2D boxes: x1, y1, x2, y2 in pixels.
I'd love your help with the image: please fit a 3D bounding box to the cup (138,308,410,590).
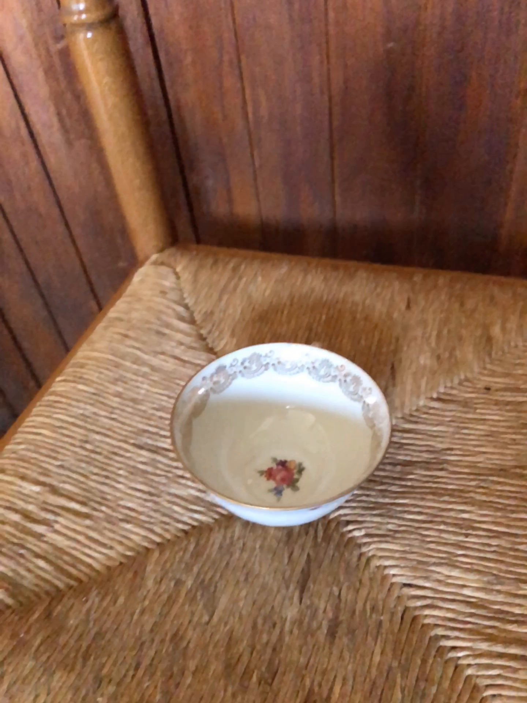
[{"bbox_3d":[0.015,0.043,0.317,0.110,0.050,0.131,7,46,15],"label":"cup"}]
